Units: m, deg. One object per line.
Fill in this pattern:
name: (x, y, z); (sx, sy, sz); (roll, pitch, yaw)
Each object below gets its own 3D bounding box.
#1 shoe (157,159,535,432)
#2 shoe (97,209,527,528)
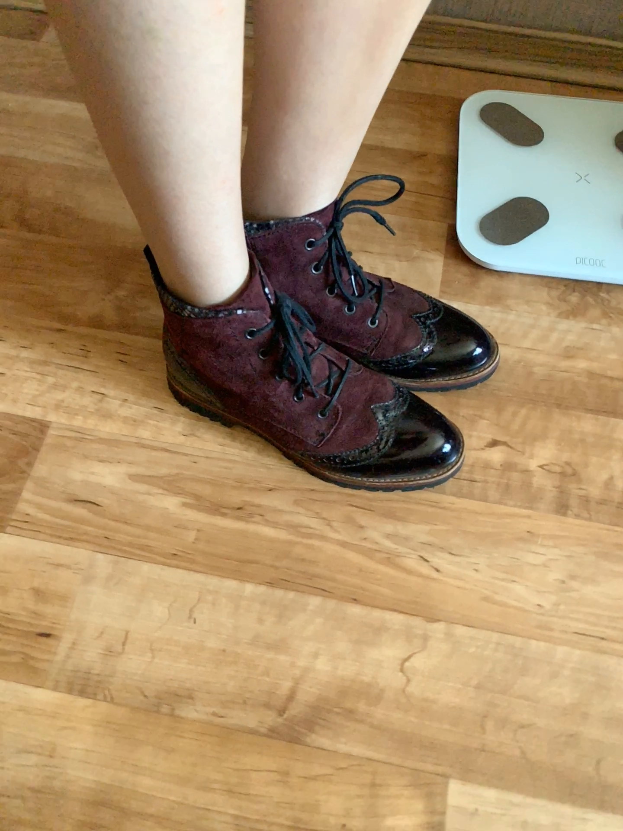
shoe: (0.026, -0.094, 0.527); (0.260, 0.140, 0.100); (15, 62, 6)
shoe: (-0.001, -0.031, 0.474); (0.260, 0.140, 0.100); (20, 62, 9)
